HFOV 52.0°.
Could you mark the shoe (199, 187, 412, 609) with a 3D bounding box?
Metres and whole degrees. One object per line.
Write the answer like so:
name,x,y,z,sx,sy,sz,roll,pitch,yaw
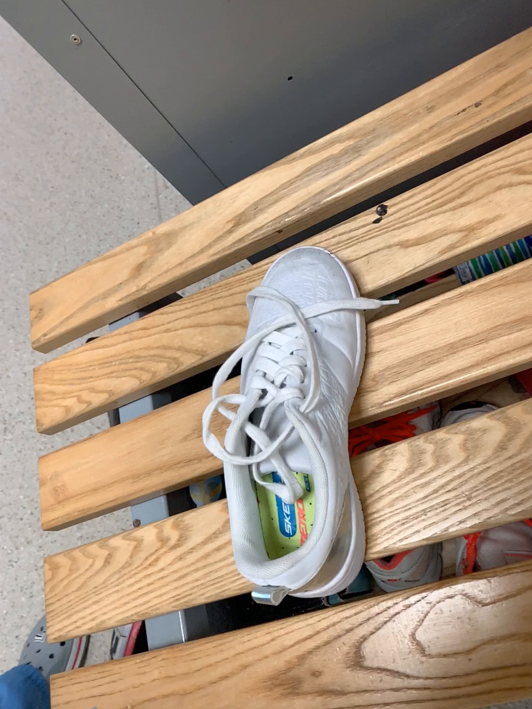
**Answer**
shoe,0.020,0.027,0.365,0.099,0.076,0.251,-13,67,22
